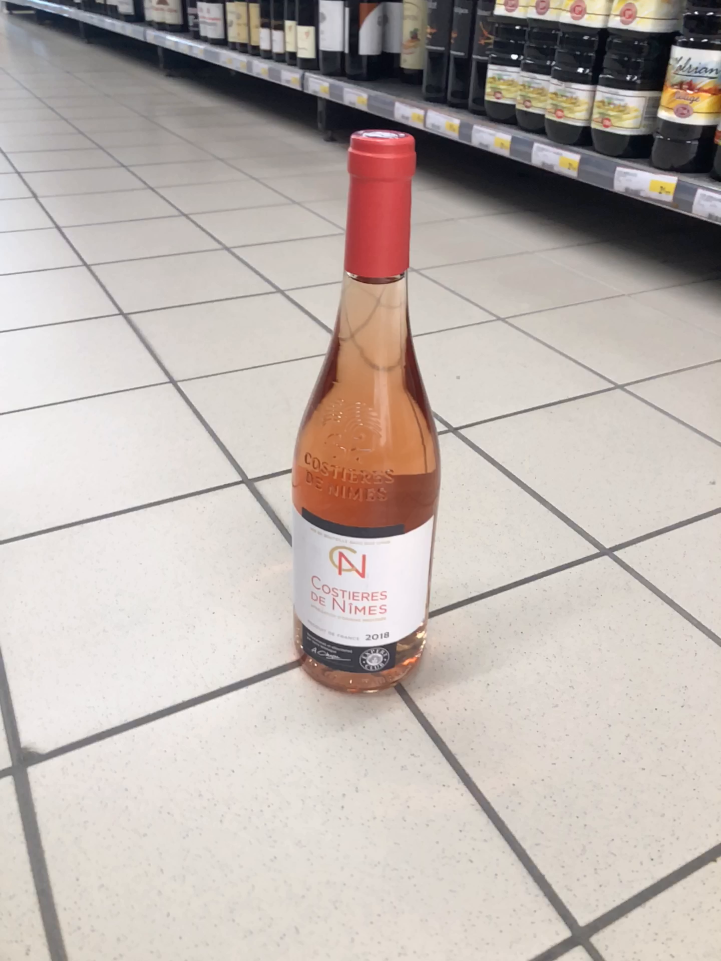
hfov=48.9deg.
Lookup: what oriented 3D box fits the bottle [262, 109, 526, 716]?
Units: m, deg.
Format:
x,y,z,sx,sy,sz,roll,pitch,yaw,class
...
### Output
x,y,z,sx,sy,sz,roll,pitch,yaw,class
0.015,-0.024,0.393,0.090,0.278,0.091,1,31,-1,bottle
